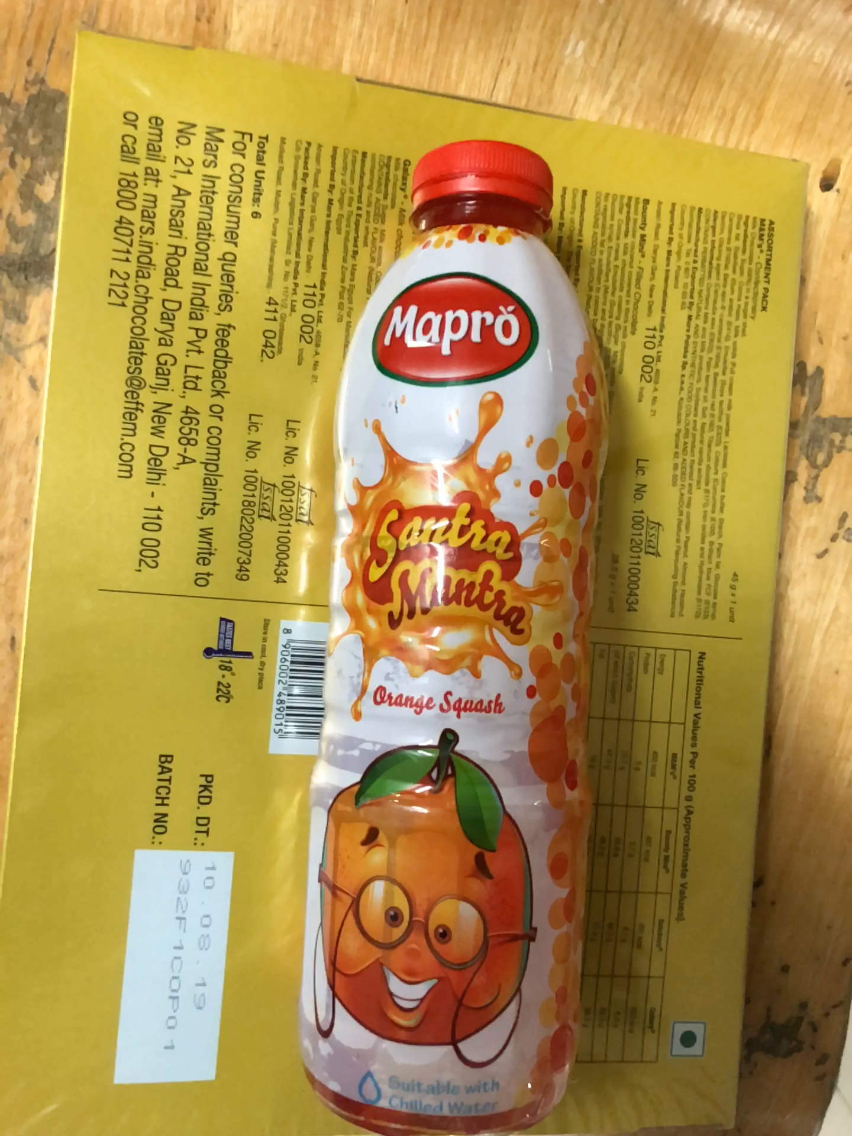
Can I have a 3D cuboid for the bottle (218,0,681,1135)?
[{"bbox_3d":[0.010,0.003,0.287,0.090,0.090,0.300,5,92,30],"label":"bottle"}]
